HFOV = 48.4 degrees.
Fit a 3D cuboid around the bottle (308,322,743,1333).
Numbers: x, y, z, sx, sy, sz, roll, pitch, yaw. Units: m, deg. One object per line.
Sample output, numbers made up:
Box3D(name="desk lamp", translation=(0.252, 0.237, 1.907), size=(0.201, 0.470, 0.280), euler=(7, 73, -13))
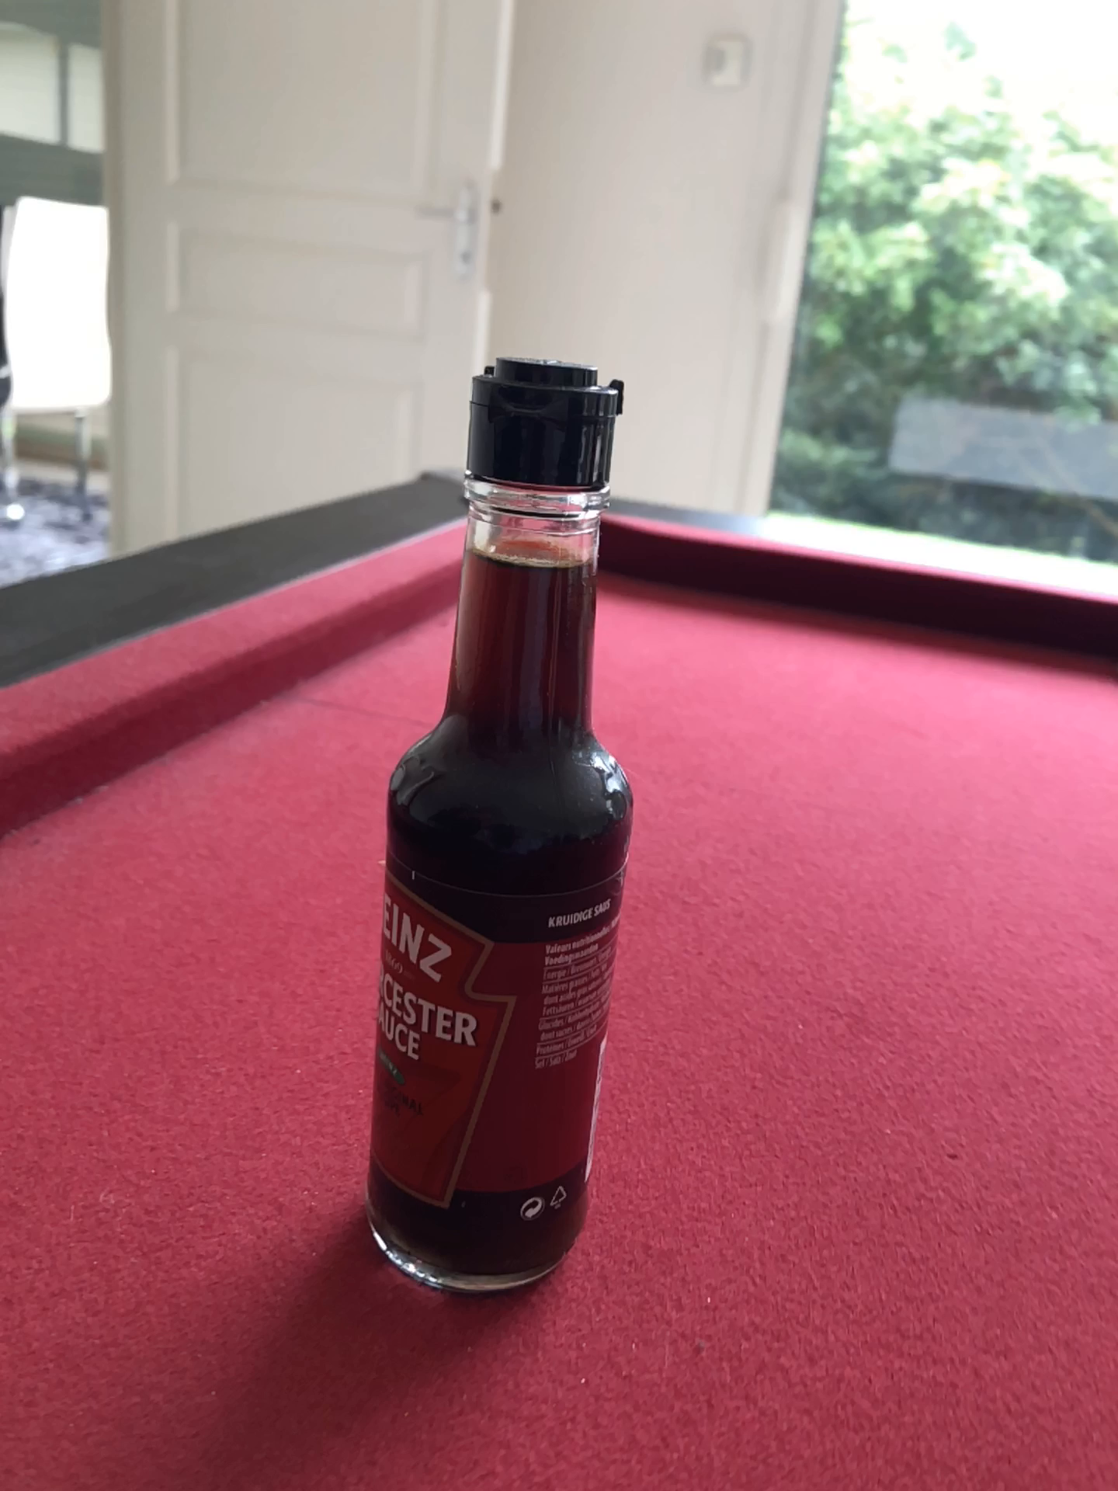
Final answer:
Box3D(name="bottle", translation=(-0.013, 0.016, 0.240), size=(0.050, 0.179, 0.050), euler=(5, 18, -2))
